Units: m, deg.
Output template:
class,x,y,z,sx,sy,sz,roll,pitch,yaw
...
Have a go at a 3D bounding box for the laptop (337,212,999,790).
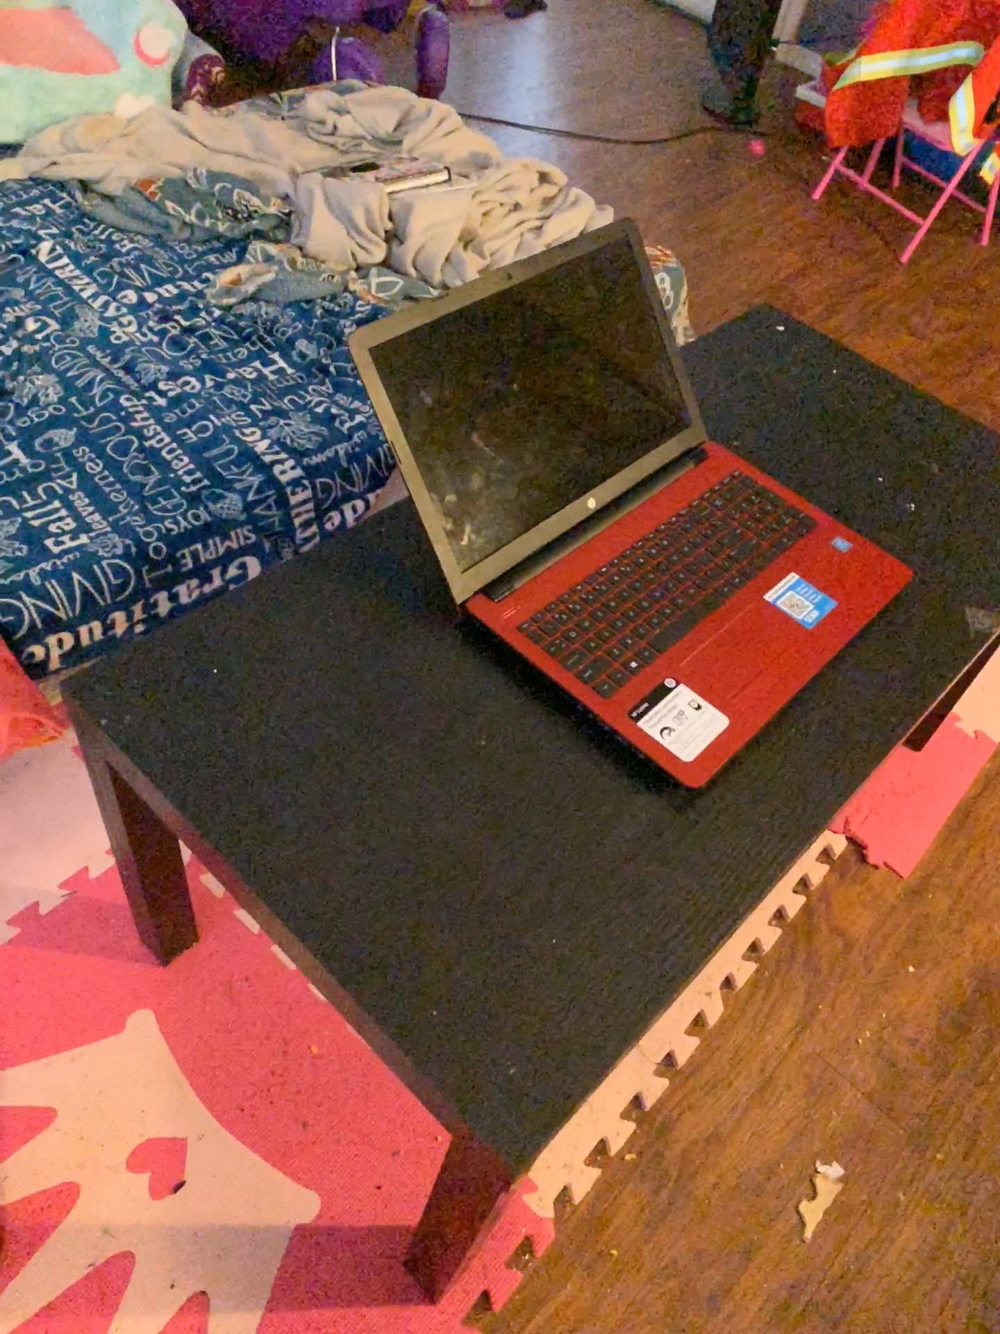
class,x,y,z,sx,sy,sz,roll,pitch,yaw
laptop,0.138,-0.177,0.892,0.410,0.169,0.377,39,53,20
